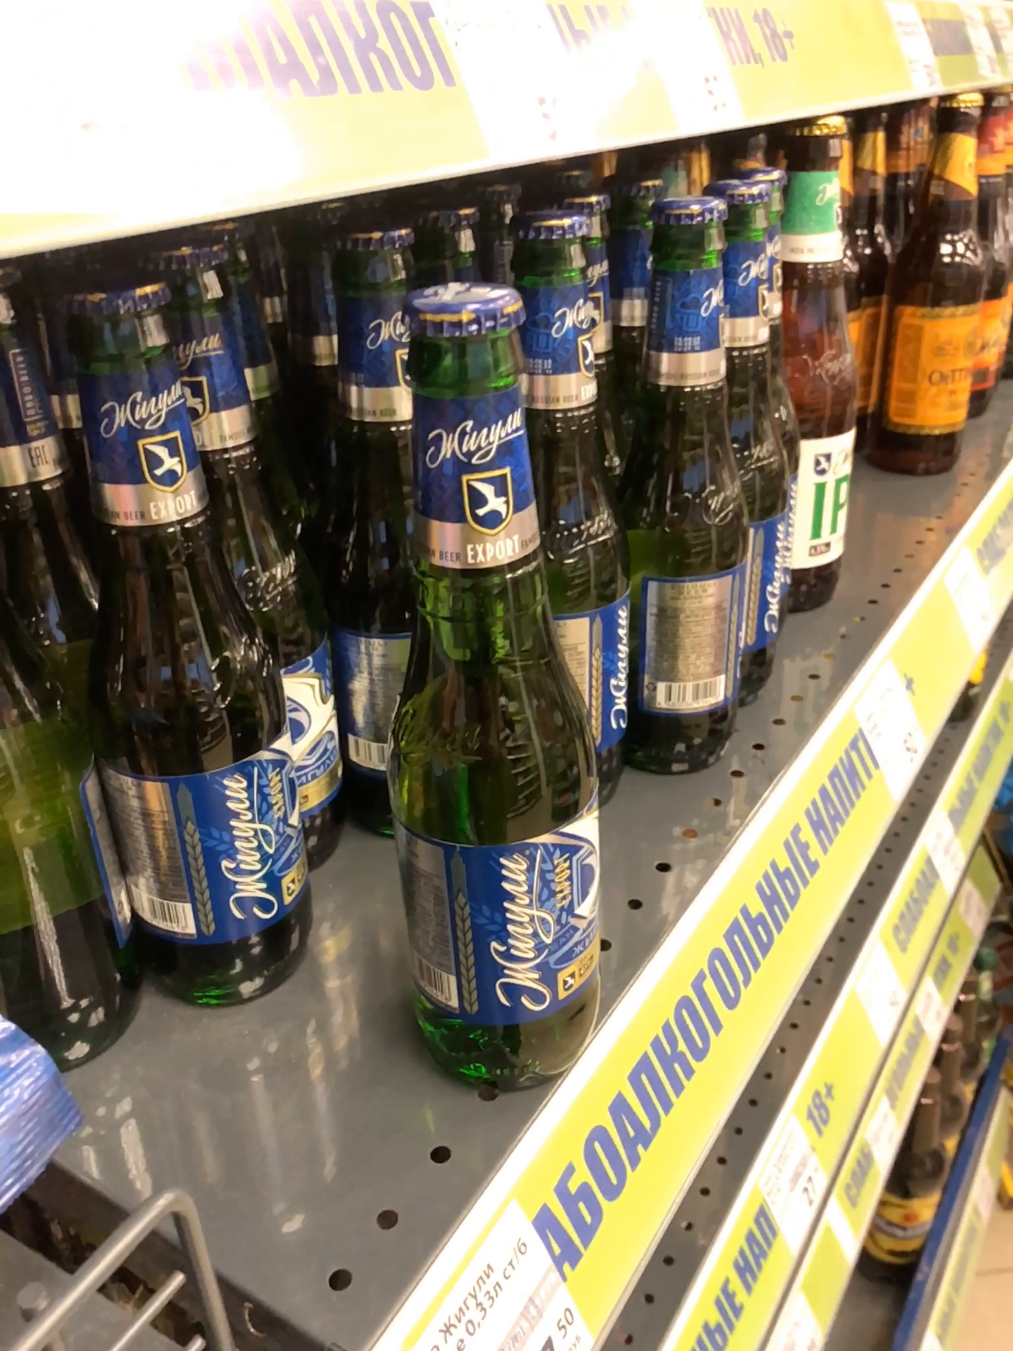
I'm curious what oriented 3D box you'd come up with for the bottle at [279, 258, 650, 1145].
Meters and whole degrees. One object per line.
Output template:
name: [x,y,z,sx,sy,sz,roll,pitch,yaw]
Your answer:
bottle: [-0.006,0.015,0.315,0.063,0.239,0.063,-1,29,0]
